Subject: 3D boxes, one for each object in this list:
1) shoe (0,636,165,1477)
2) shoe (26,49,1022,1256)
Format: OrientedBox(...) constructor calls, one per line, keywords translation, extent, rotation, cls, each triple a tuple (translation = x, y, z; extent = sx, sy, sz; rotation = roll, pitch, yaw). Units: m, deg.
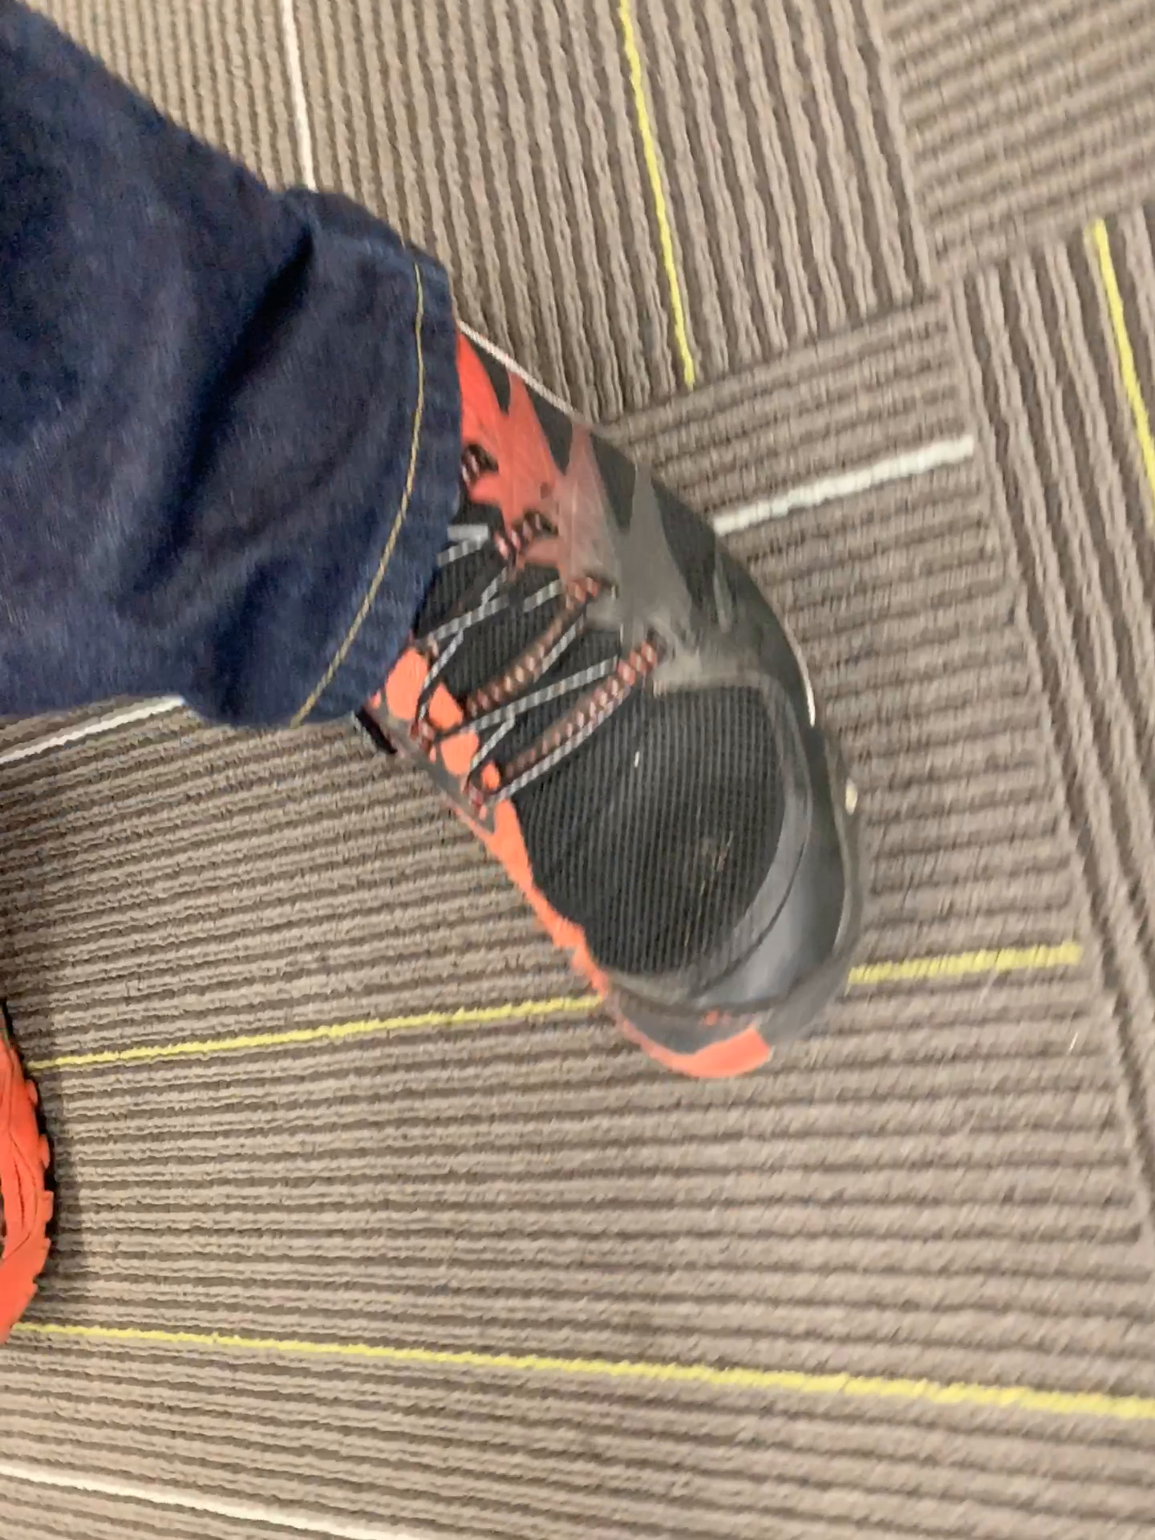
OrientedBox(translation=(-0.315, 0.116, 0.538), extent=(0.121, 0.119, 0.320), rotation=(-28, 75, 27), cls="shoe")
OrientedBox(translation=(-0.030, -0.042, 0.348), extent=(0.131, 0.099, 0.300), rotation=(-42, 68, 23), cls="shoe")
